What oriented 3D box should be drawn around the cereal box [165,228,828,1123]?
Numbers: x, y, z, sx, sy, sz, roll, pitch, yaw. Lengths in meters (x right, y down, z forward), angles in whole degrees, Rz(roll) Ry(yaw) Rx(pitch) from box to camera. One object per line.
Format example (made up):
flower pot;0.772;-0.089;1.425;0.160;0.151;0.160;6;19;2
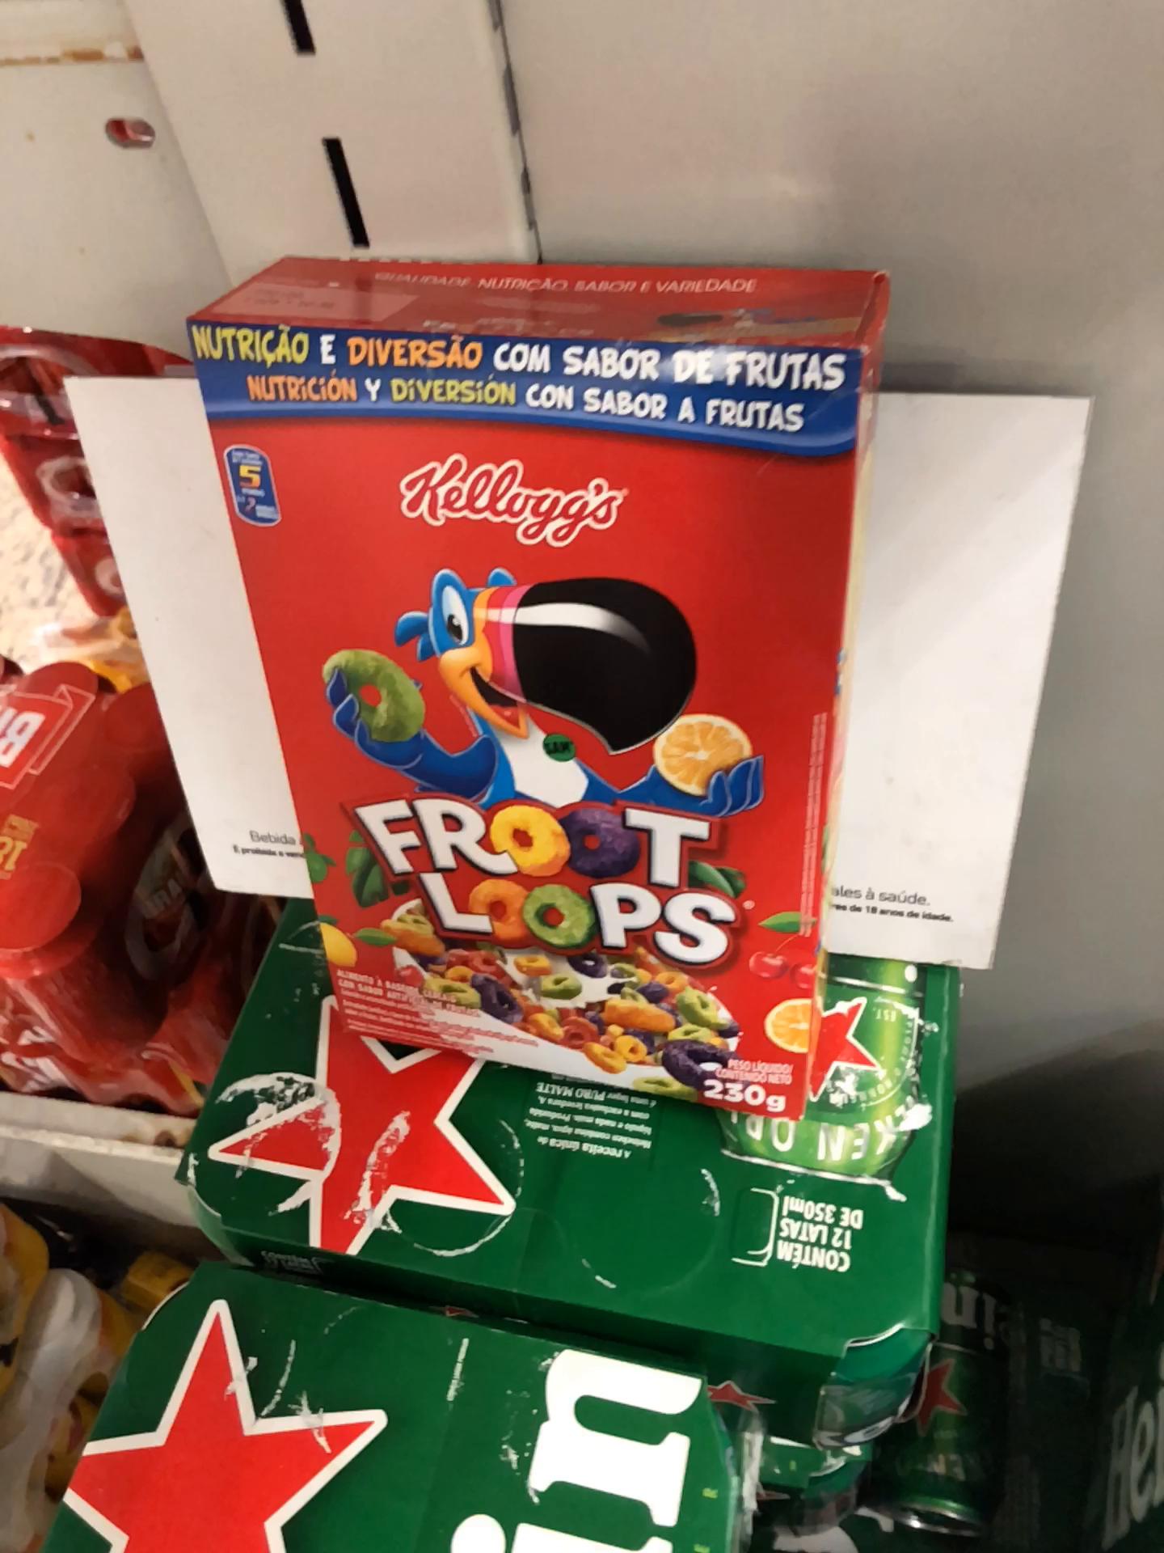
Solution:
cereal box;-0.014;-0.019;0.389;0.150;0.258;0.060;8;37;15
